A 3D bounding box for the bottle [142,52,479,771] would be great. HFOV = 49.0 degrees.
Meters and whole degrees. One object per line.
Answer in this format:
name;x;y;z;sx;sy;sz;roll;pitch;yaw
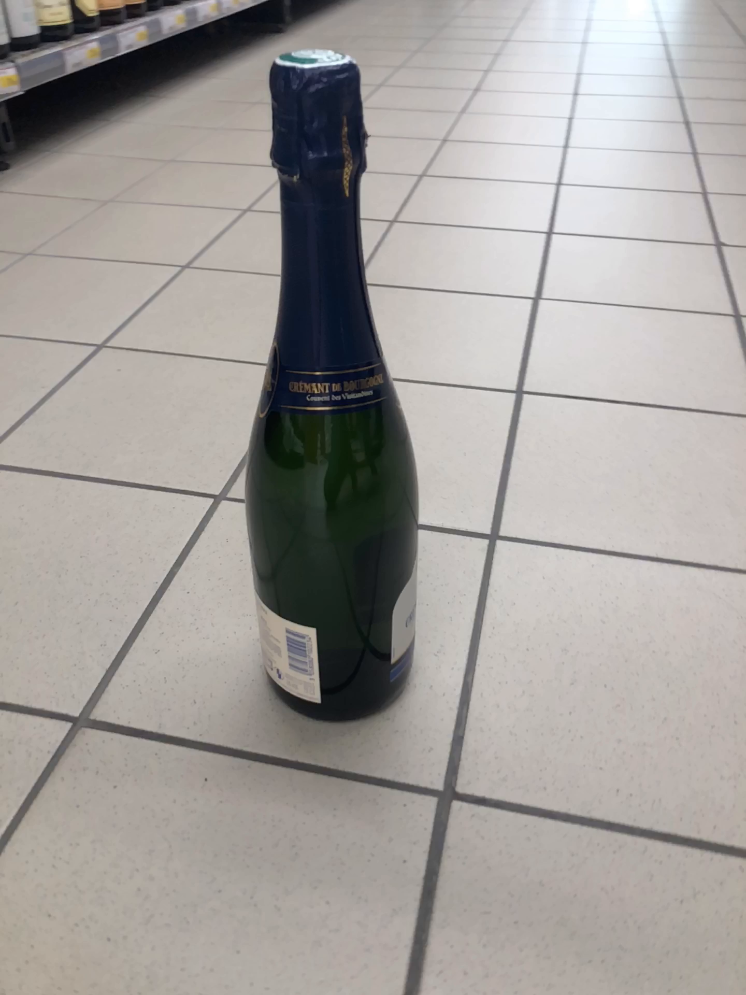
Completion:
bottle;-0.027;-0.021;0.376;0.100;0.308;0.100;0;36;0
